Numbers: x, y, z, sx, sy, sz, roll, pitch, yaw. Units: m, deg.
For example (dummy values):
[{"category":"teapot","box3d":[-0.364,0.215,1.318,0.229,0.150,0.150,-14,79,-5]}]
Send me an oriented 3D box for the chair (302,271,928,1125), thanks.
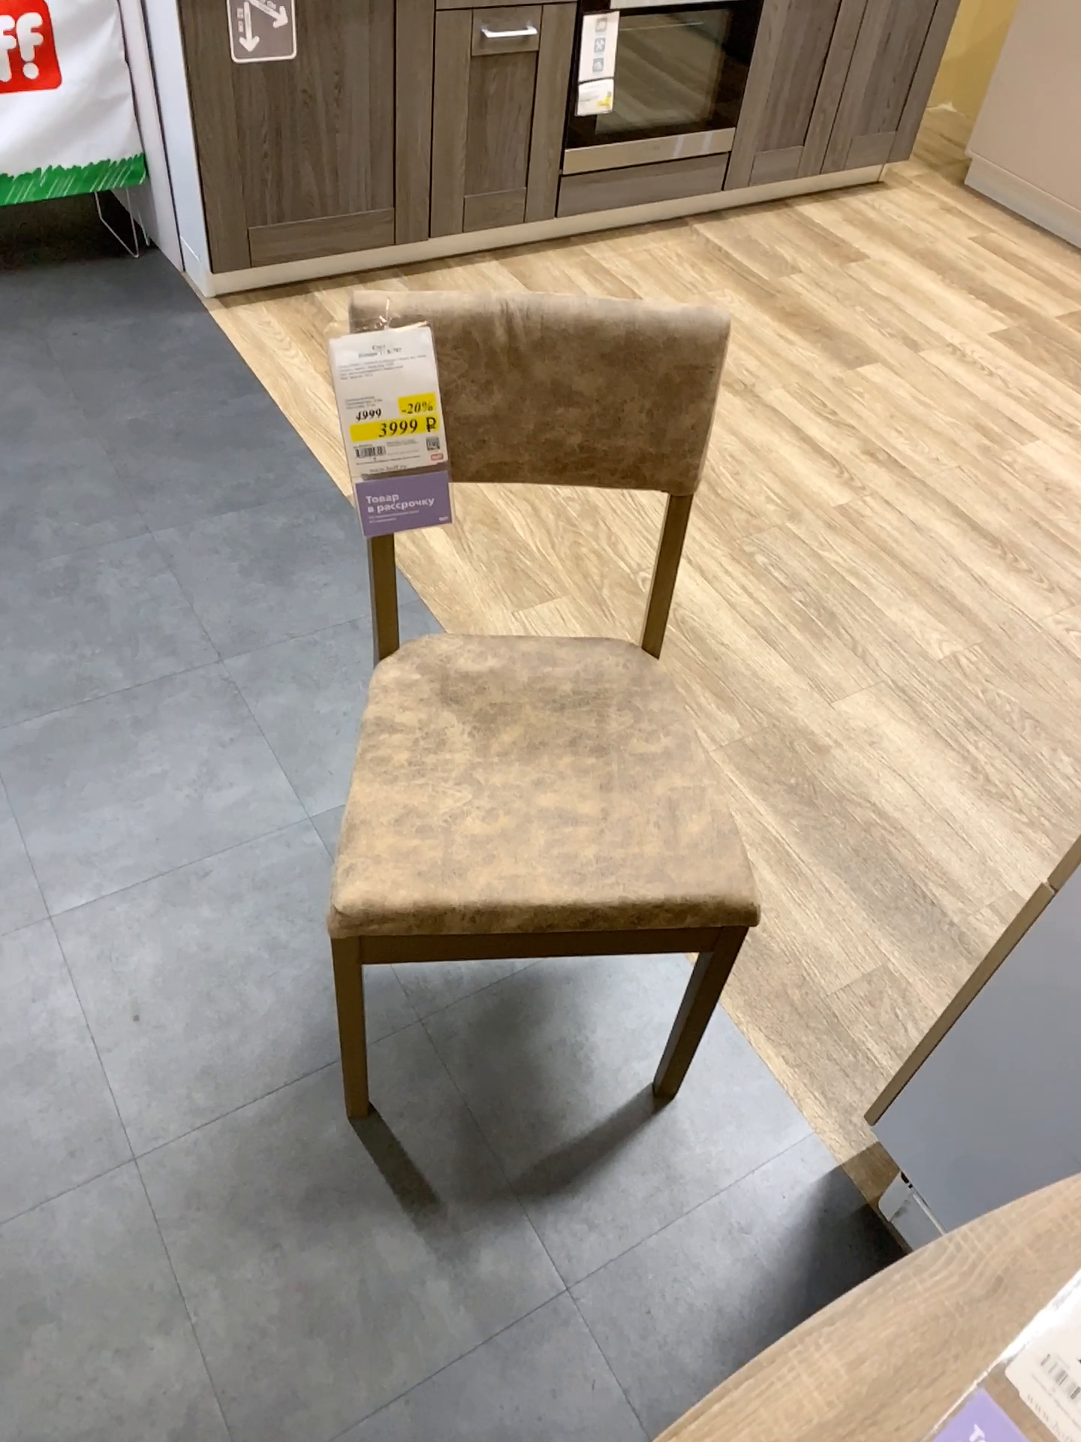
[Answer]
[{"category":"chair","box3d":[-0.004,0.036,1.339,0.480,0.925,0.512,0,47,-8]}]
